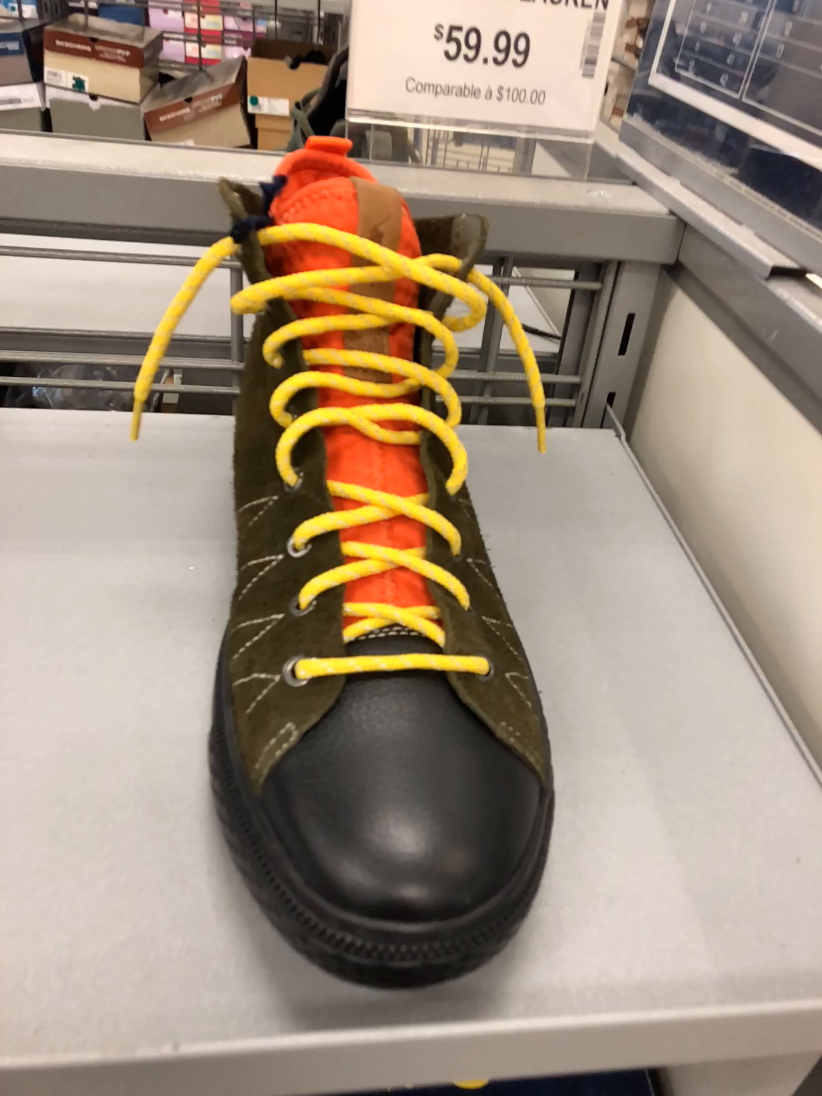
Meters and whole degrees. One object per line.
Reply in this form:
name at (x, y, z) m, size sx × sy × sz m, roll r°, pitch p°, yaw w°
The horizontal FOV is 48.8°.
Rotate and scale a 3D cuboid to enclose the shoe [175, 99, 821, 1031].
shoe at (-0.011, -0.032, 0.320) m, size 0.125 × 0.171 × 0.300 m, roll -1°, pitch 35°, yaw -12°
